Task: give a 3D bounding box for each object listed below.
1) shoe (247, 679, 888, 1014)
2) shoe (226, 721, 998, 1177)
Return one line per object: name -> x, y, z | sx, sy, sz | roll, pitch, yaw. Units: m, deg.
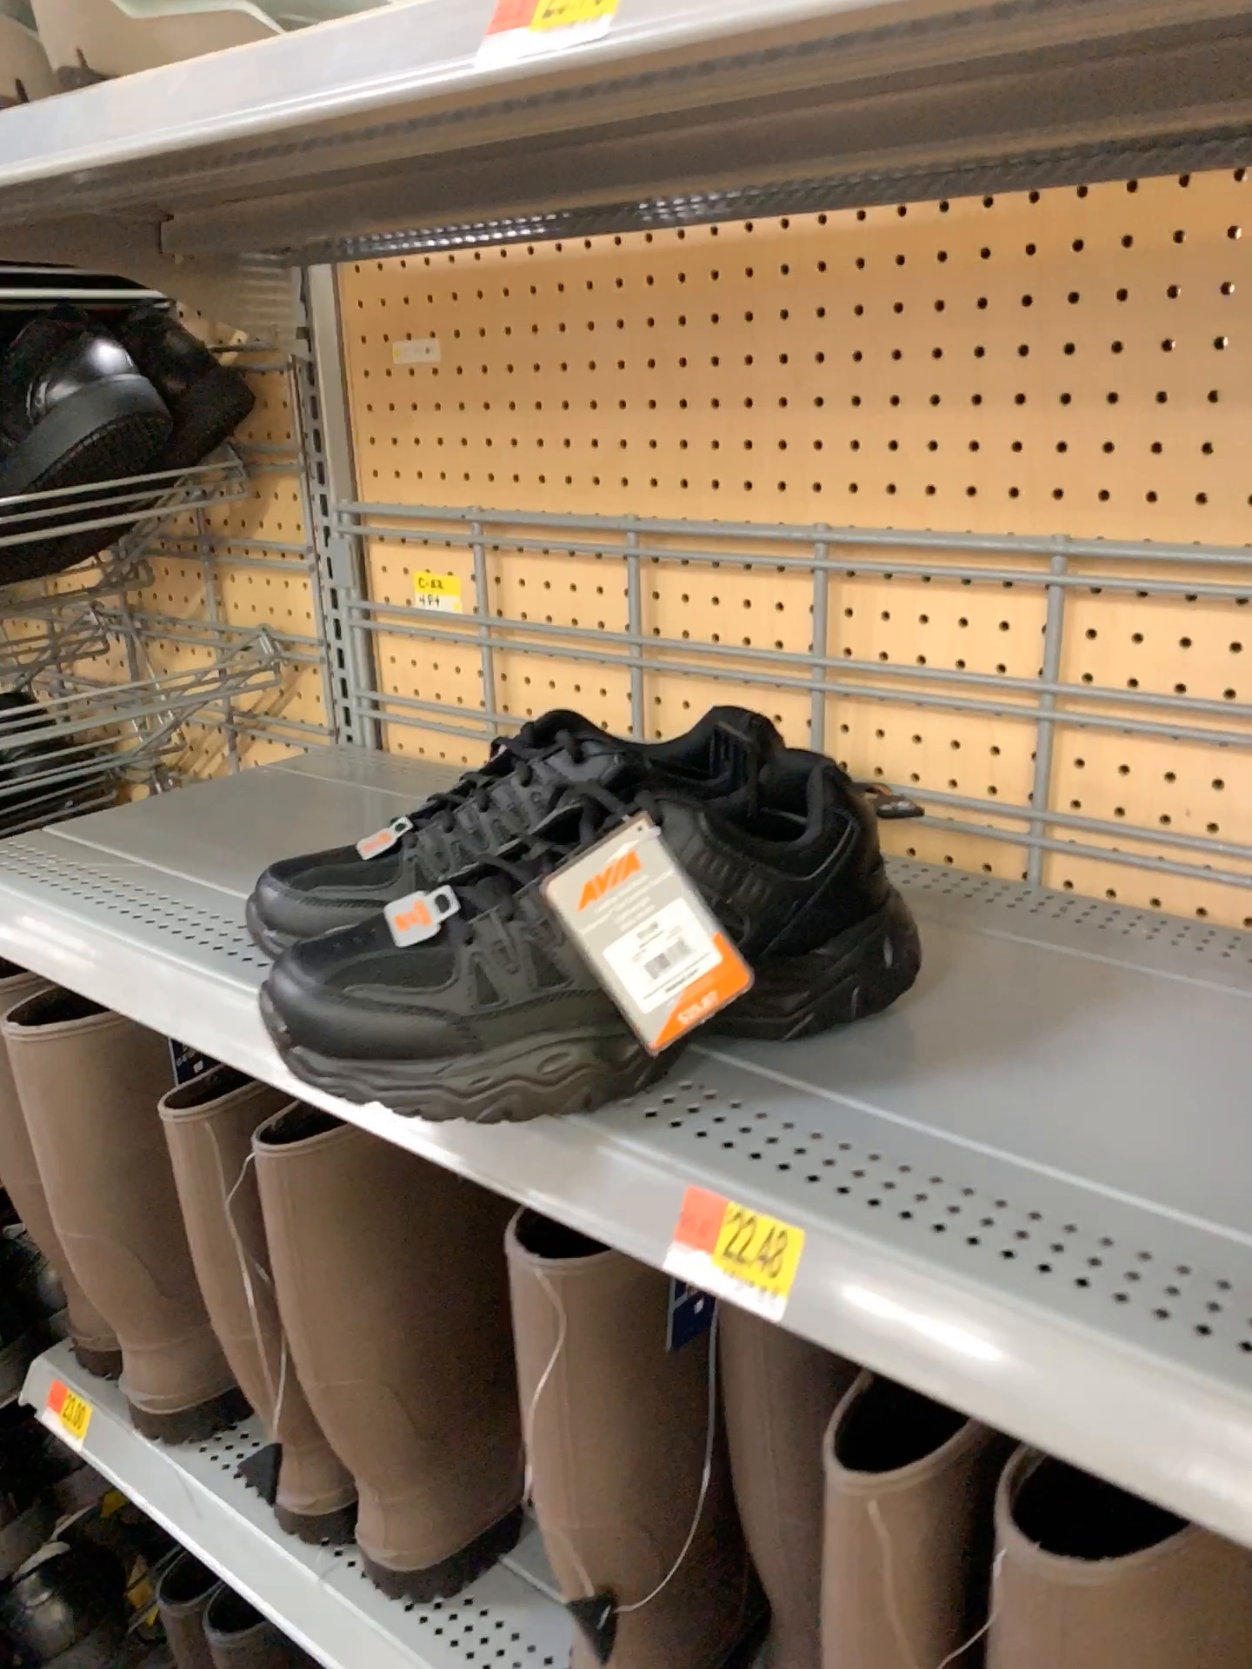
shoe -> -0.034, -0.004, 0.659 | 0.296, 0.104, 0.139 | -6, 19, -13
shoe -> -0.007, 0.033, 0.555 | 0.296, 0.104, 0.136 | -9, 20, -21
